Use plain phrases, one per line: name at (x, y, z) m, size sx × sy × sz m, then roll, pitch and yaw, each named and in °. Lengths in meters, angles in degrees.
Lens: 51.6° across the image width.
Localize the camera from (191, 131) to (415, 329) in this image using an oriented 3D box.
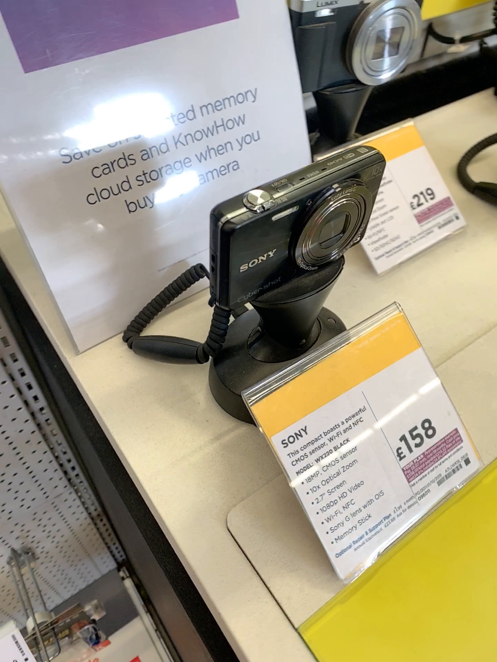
camera at (0.025, -0.049, 0.238) m, size 0.100 × 0.050 × 0.030 m, roll -29°, pitch 57°, yaw -24°
